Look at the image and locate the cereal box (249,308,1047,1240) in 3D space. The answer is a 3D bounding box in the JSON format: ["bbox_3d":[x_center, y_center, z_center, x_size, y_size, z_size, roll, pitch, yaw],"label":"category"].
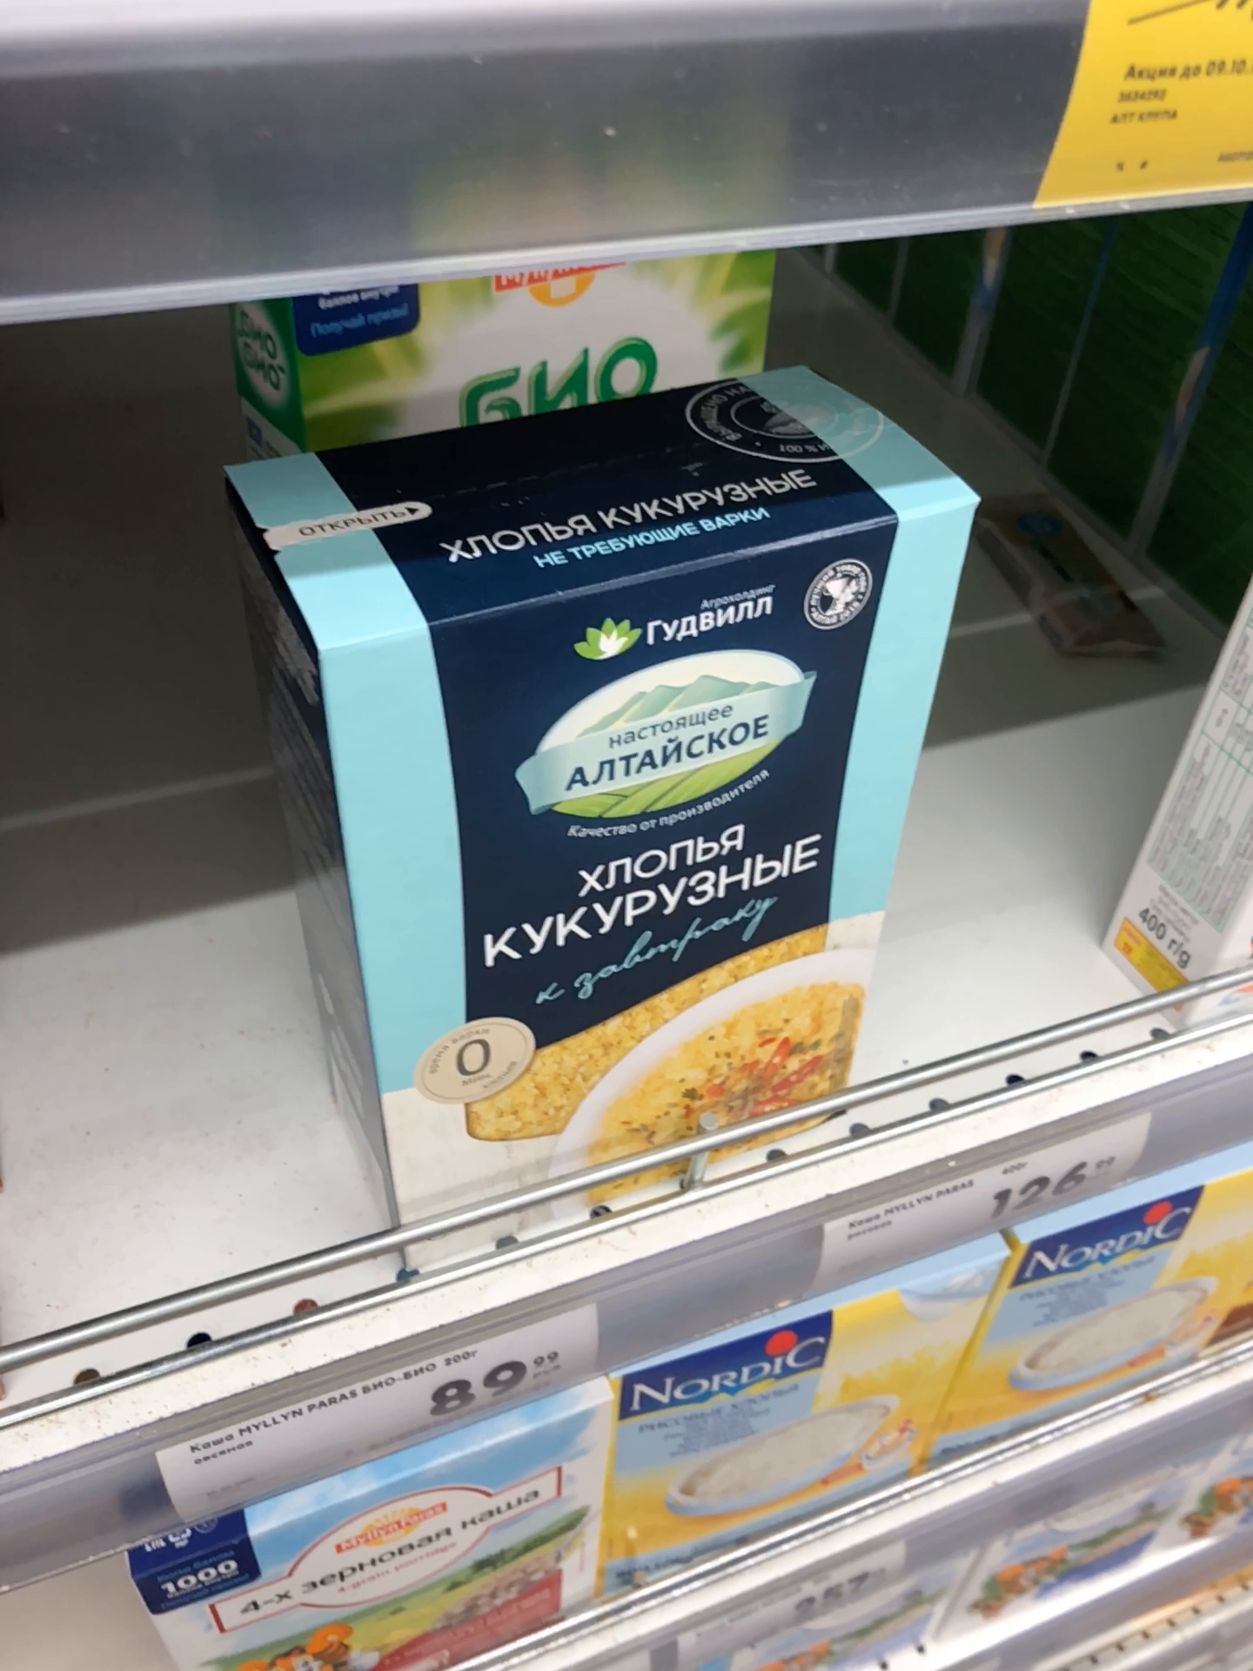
[{"bbox_3d":[0.000,-0.006,0.315,0.130,0.189,0.060,-15,46,-19],"label":"cereal box"}]
